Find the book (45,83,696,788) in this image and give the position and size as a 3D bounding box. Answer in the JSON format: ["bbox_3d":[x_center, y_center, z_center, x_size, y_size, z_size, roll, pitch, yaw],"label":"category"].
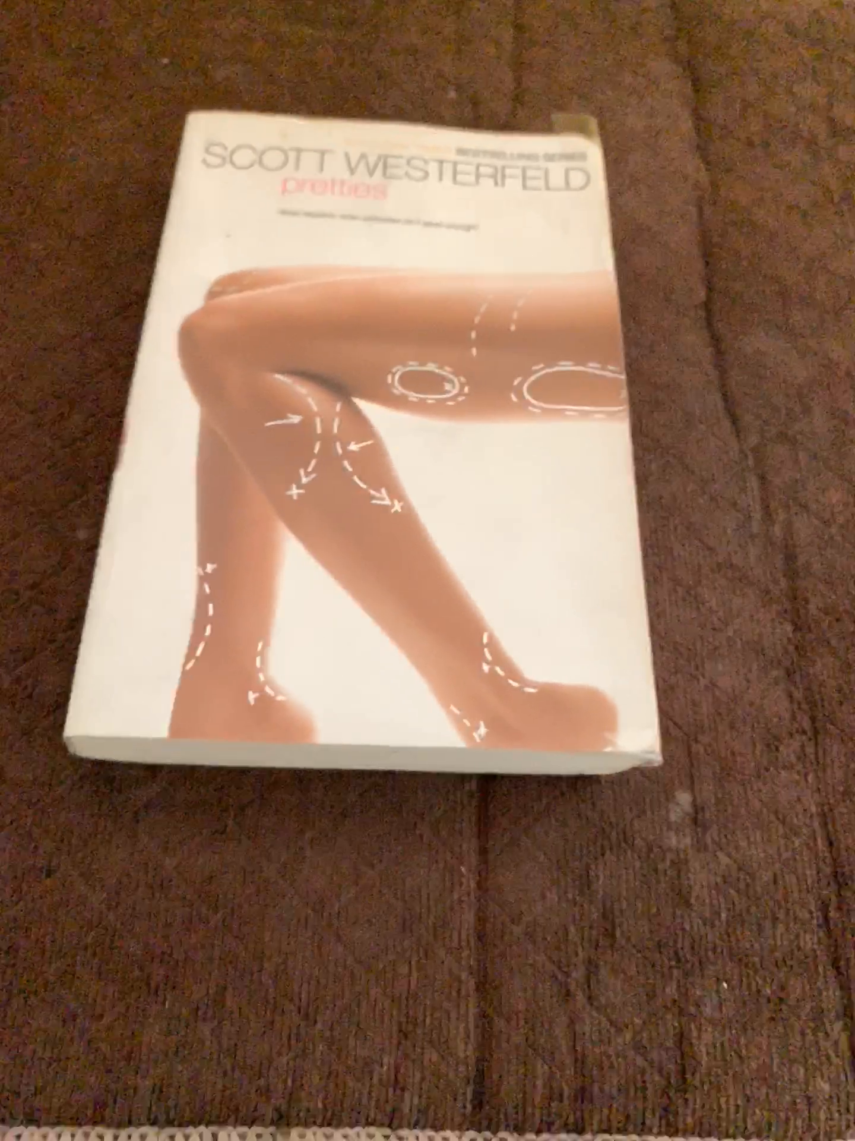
[{"bbox_3d":[-0.010,-0.052,0.266,0.150,0.030,0.221,3,65,-2],"label":"book"}]
